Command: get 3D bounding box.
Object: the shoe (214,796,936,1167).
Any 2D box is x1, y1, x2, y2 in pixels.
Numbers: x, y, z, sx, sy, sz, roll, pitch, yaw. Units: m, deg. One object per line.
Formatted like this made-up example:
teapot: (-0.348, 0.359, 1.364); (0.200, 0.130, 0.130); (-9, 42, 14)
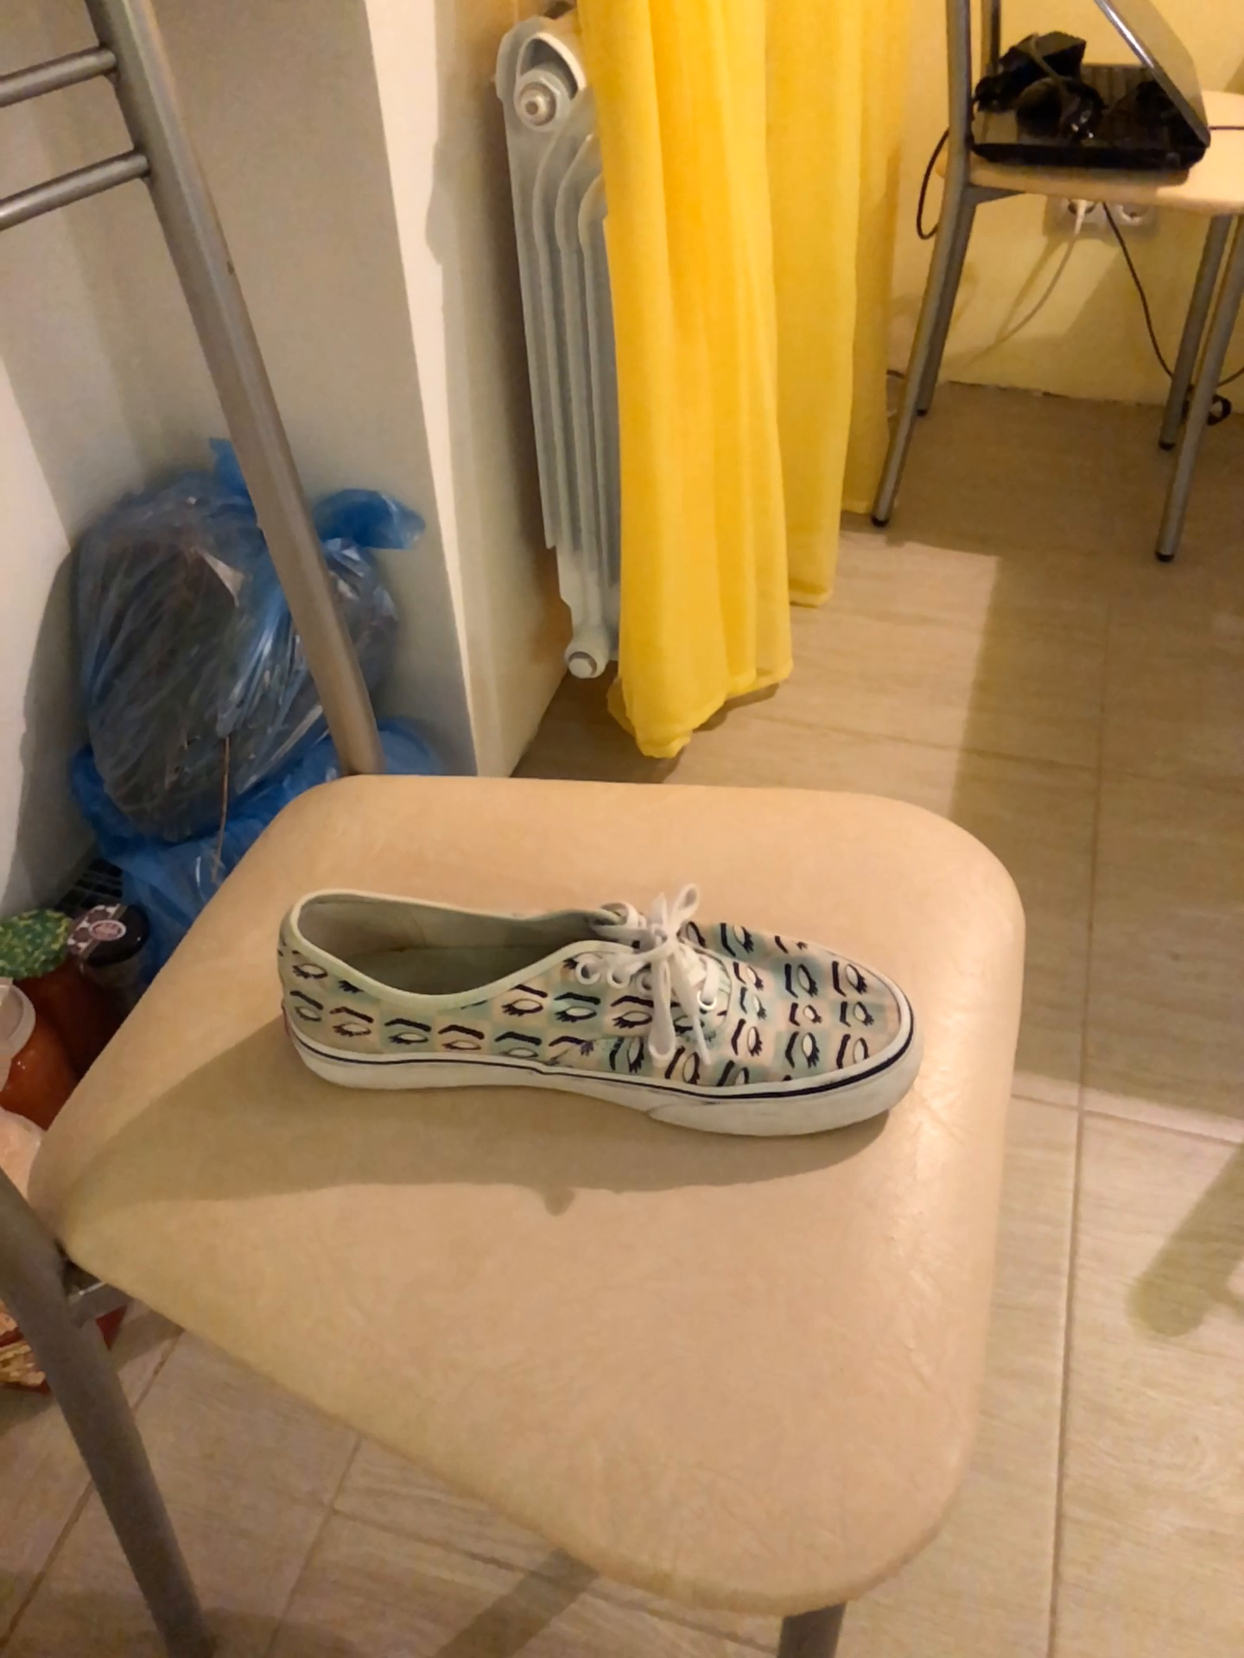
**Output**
shoe: (-0.013, 0.057, 0.548); (0.260, 0.068, 0.111); (4, 42, 6)
